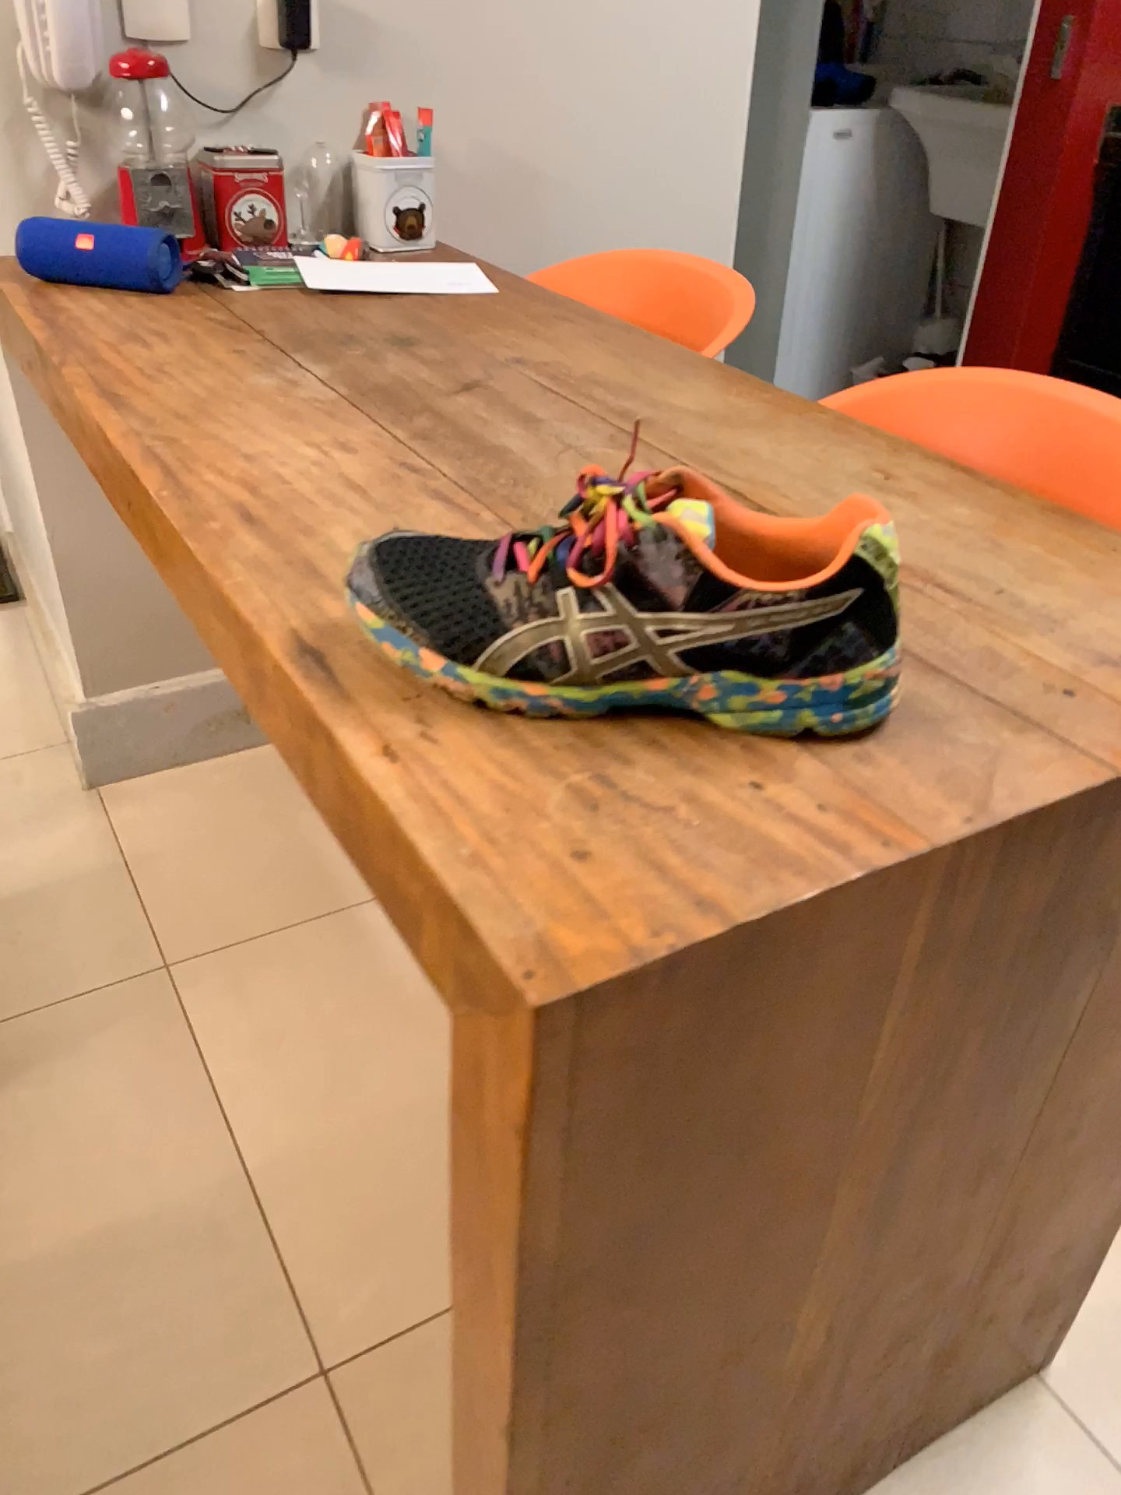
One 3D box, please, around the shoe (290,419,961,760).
[{"bbox_3d":[0.032,-0.088,0.603,0.313,0.112,0.108,7,34,7],"label":"shoe"}]
